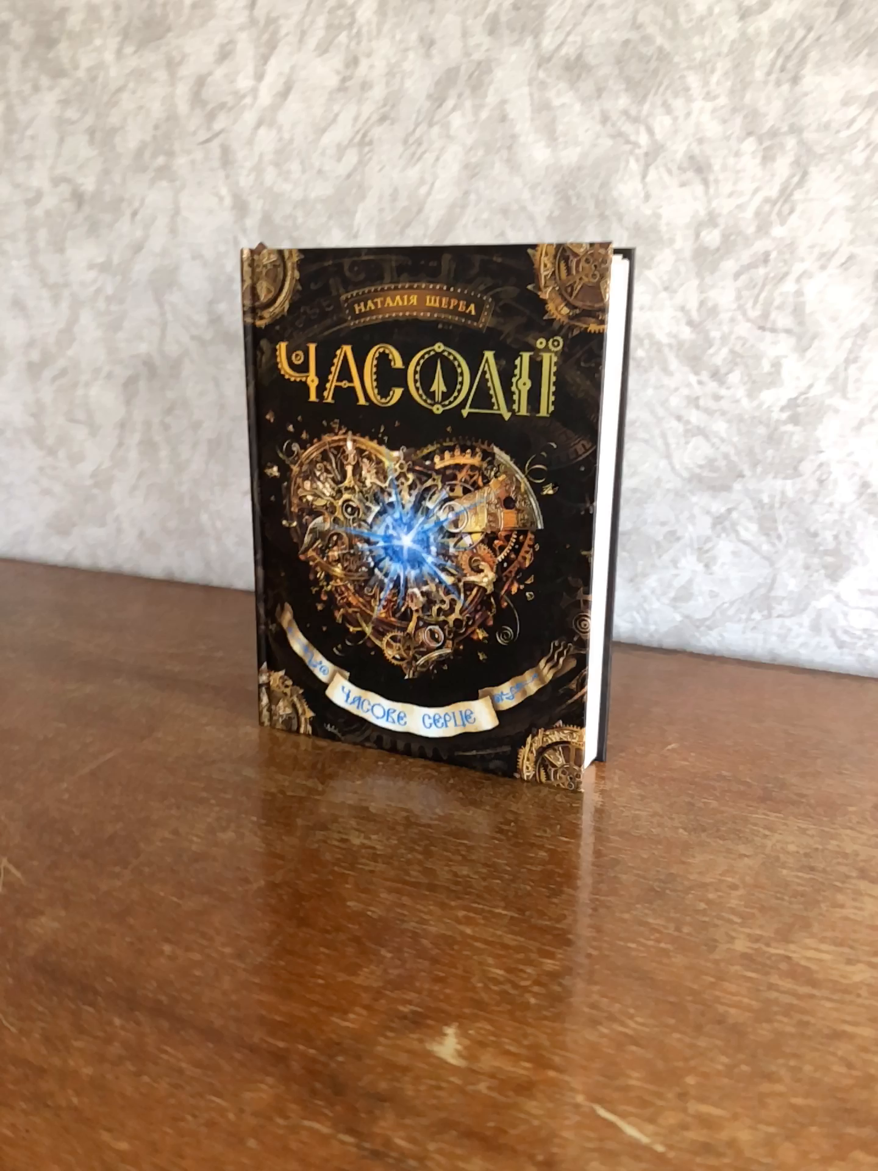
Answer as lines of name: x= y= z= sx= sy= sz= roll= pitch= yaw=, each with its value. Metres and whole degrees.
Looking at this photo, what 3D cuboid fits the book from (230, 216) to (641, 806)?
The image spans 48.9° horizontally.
book: x=-0.006 y=-0.034 z=0.422 sx=0.166 sy=0.228 sz=0.042 roll=6 pitch=14 yaw=23
